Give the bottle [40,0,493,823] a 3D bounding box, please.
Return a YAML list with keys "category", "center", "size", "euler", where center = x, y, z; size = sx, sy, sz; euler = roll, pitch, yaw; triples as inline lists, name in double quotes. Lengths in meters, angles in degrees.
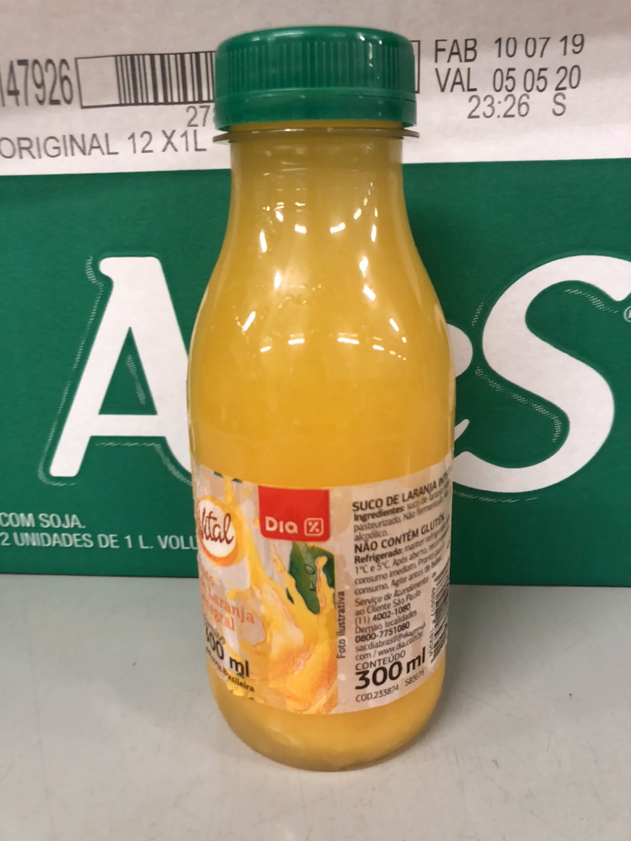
- category: "bottle"
  center: [-0.007, -0.004, 0.170]
  size: [0.070, 0.159, 0.060]
  euler: [15, 26, 40]
